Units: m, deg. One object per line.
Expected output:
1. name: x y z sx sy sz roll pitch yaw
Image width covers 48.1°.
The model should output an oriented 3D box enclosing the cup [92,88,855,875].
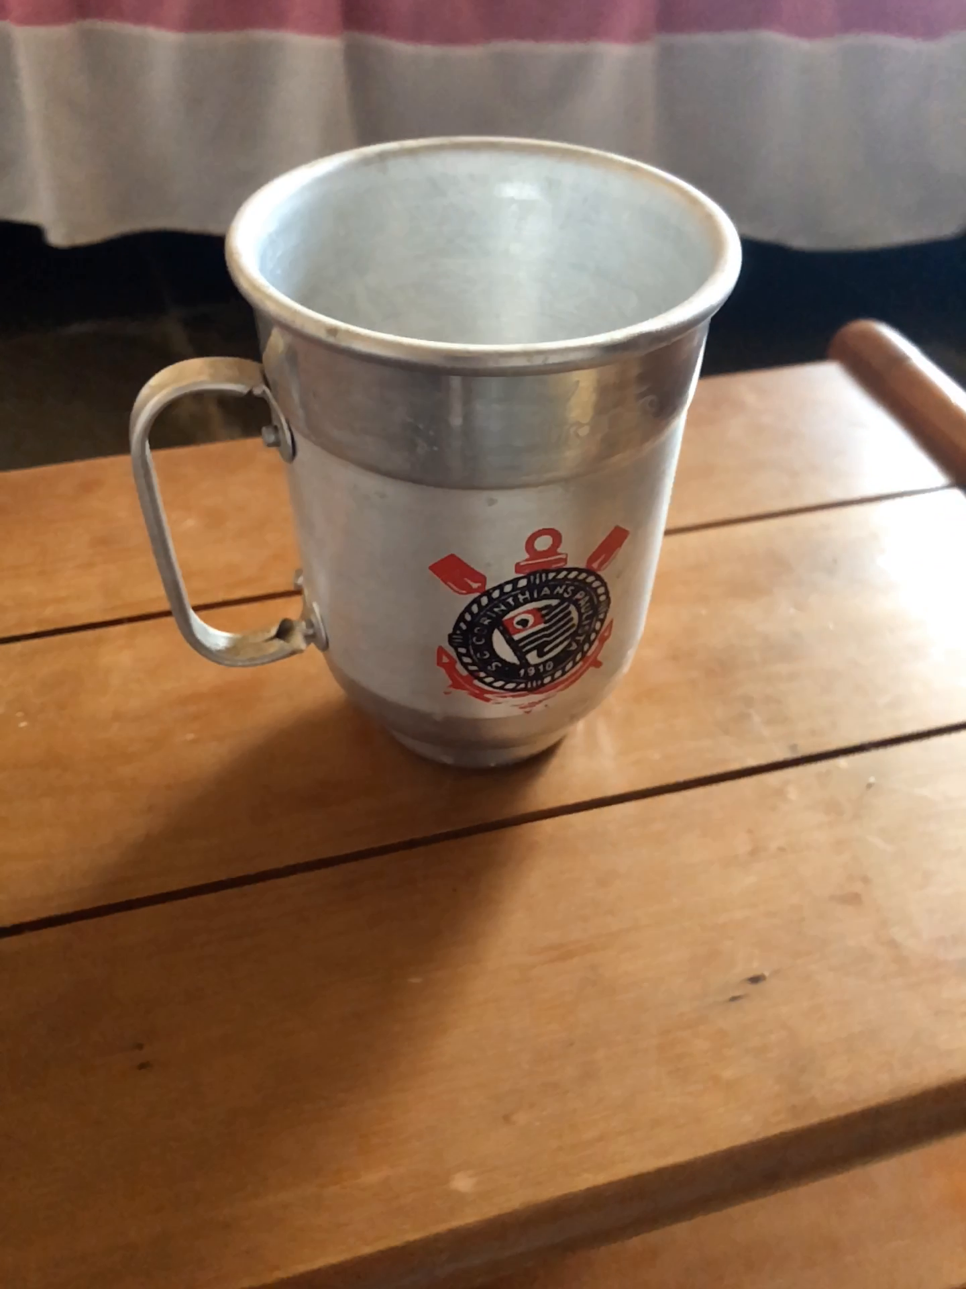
1. cup: -0.011 -0.038 0.246 0.120 0.129 0.101 -8 44 -11
